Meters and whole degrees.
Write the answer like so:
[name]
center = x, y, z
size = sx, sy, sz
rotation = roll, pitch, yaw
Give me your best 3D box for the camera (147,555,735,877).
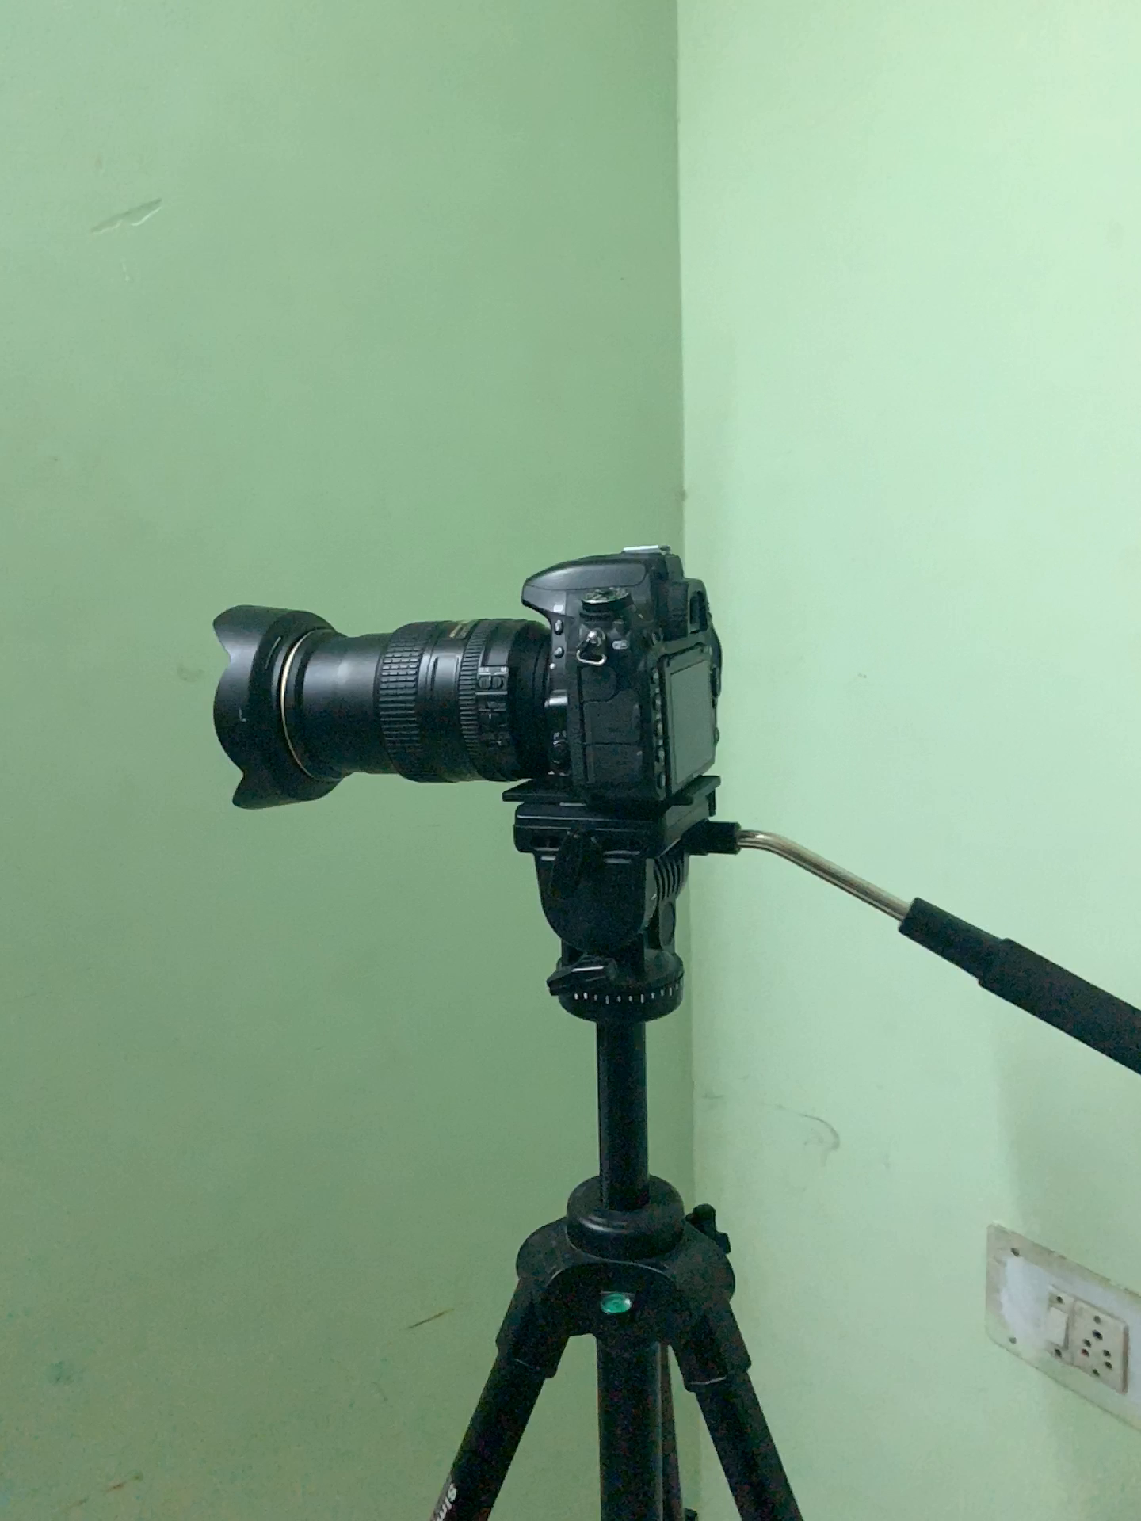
[camera]
center = -0.057, -0.035, 0.607
size = 0.250, 0.132, 0.164
rotation = 2, 11, 21
